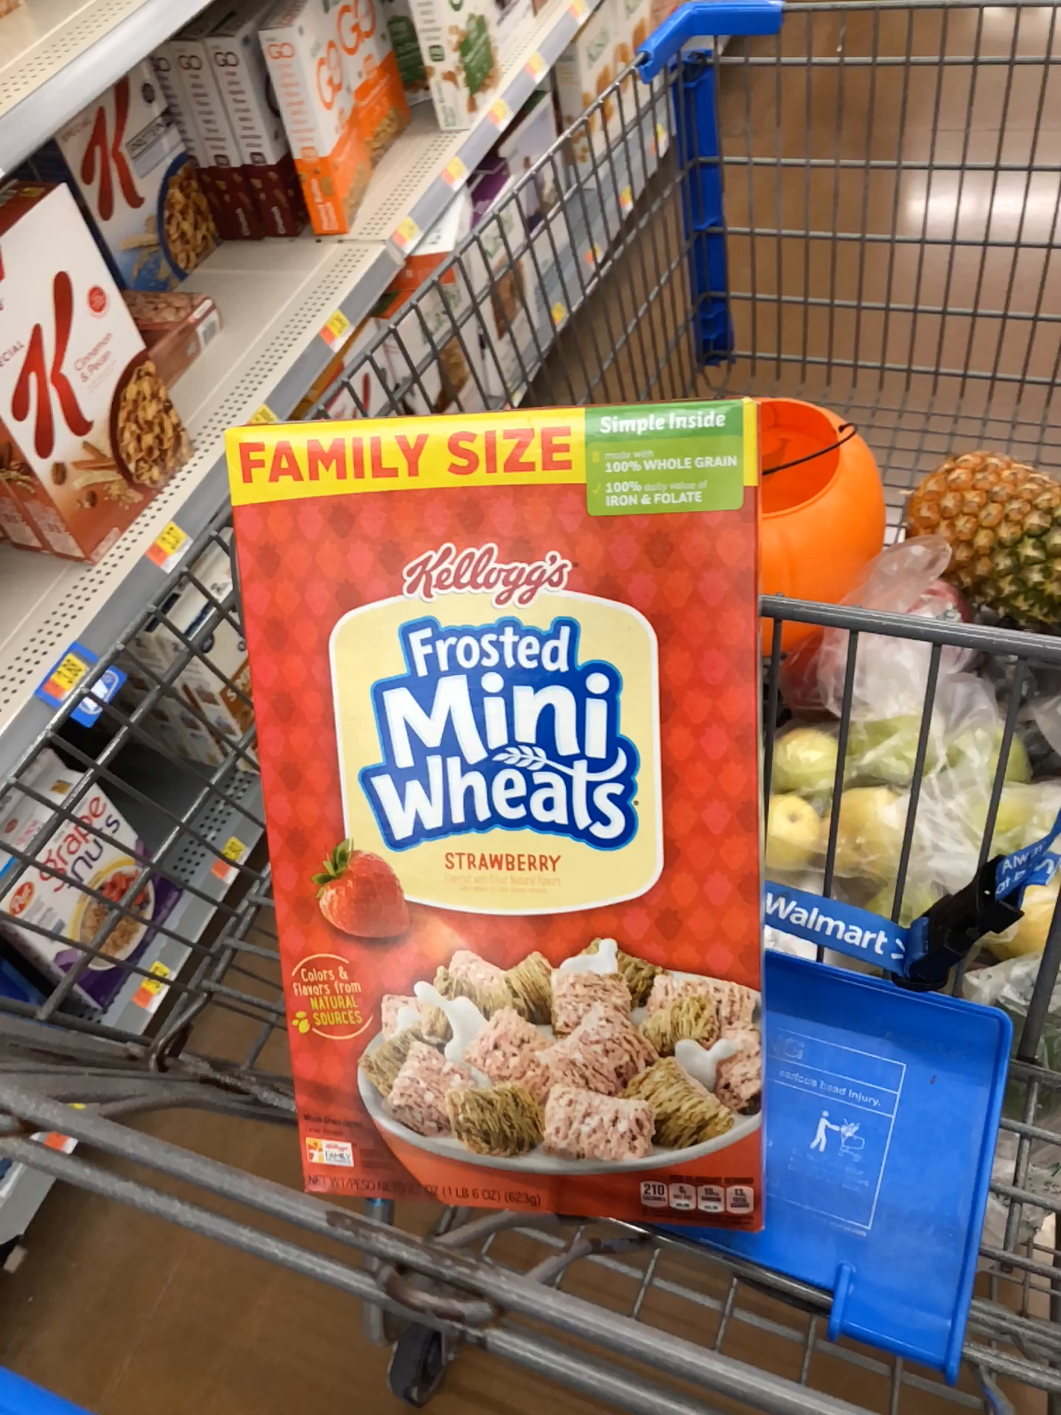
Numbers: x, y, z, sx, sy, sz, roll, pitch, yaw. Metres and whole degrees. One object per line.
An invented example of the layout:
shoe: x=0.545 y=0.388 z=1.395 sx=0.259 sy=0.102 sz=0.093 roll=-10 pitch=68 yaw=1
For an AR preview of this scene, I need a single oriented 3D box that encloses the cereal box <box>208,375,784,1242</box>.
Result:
cereal box: x=-0.003 y=0.042 z=0.470 sx=0.200 sy=0.320 sz=0.070 roll=-1 pitch=12 yaw=13
